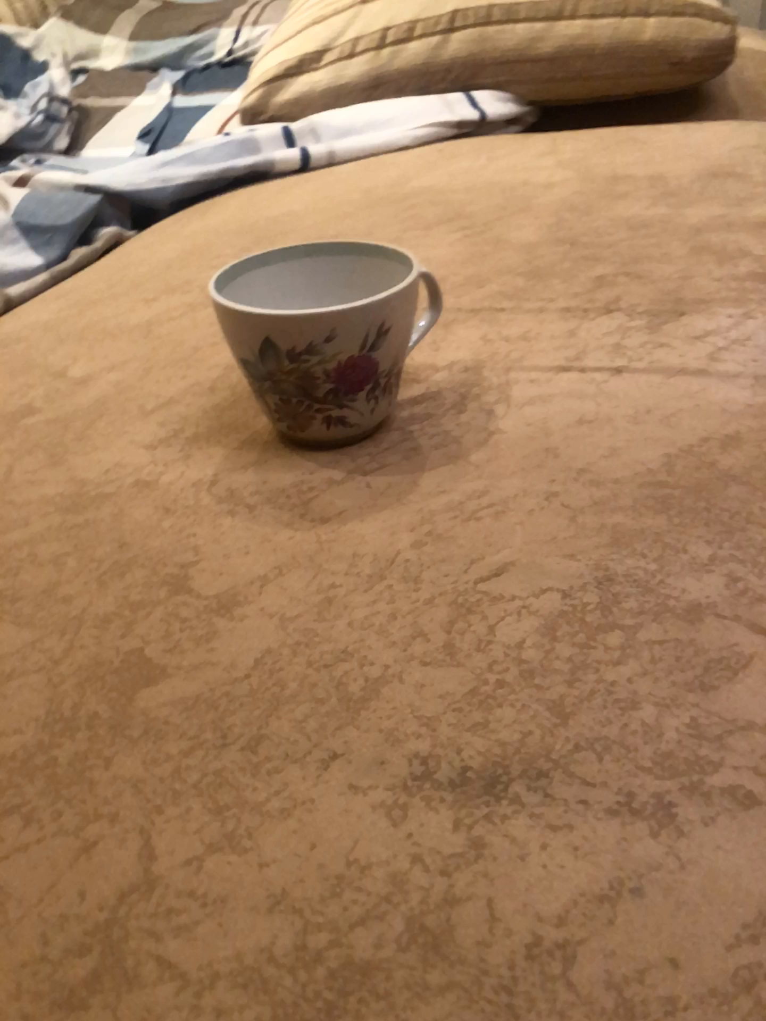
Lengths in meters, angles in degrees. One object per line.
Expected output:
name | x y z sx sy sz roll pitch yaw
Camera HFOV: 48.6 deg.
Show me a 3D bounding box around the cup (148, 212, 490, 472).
cup | -0.025 -0.080 0.370 0.110 0.060 0.090 -29 40 -31
